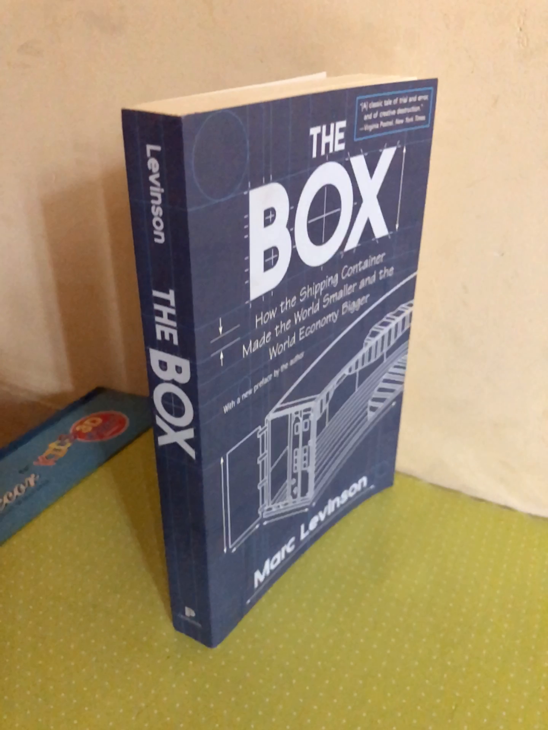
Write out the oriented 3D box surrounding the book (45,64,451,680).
[{"bbox_3d":[0.006,-0.010,0.277,0.050,0.219,0.181,19,33,30],"label":"book"}]
